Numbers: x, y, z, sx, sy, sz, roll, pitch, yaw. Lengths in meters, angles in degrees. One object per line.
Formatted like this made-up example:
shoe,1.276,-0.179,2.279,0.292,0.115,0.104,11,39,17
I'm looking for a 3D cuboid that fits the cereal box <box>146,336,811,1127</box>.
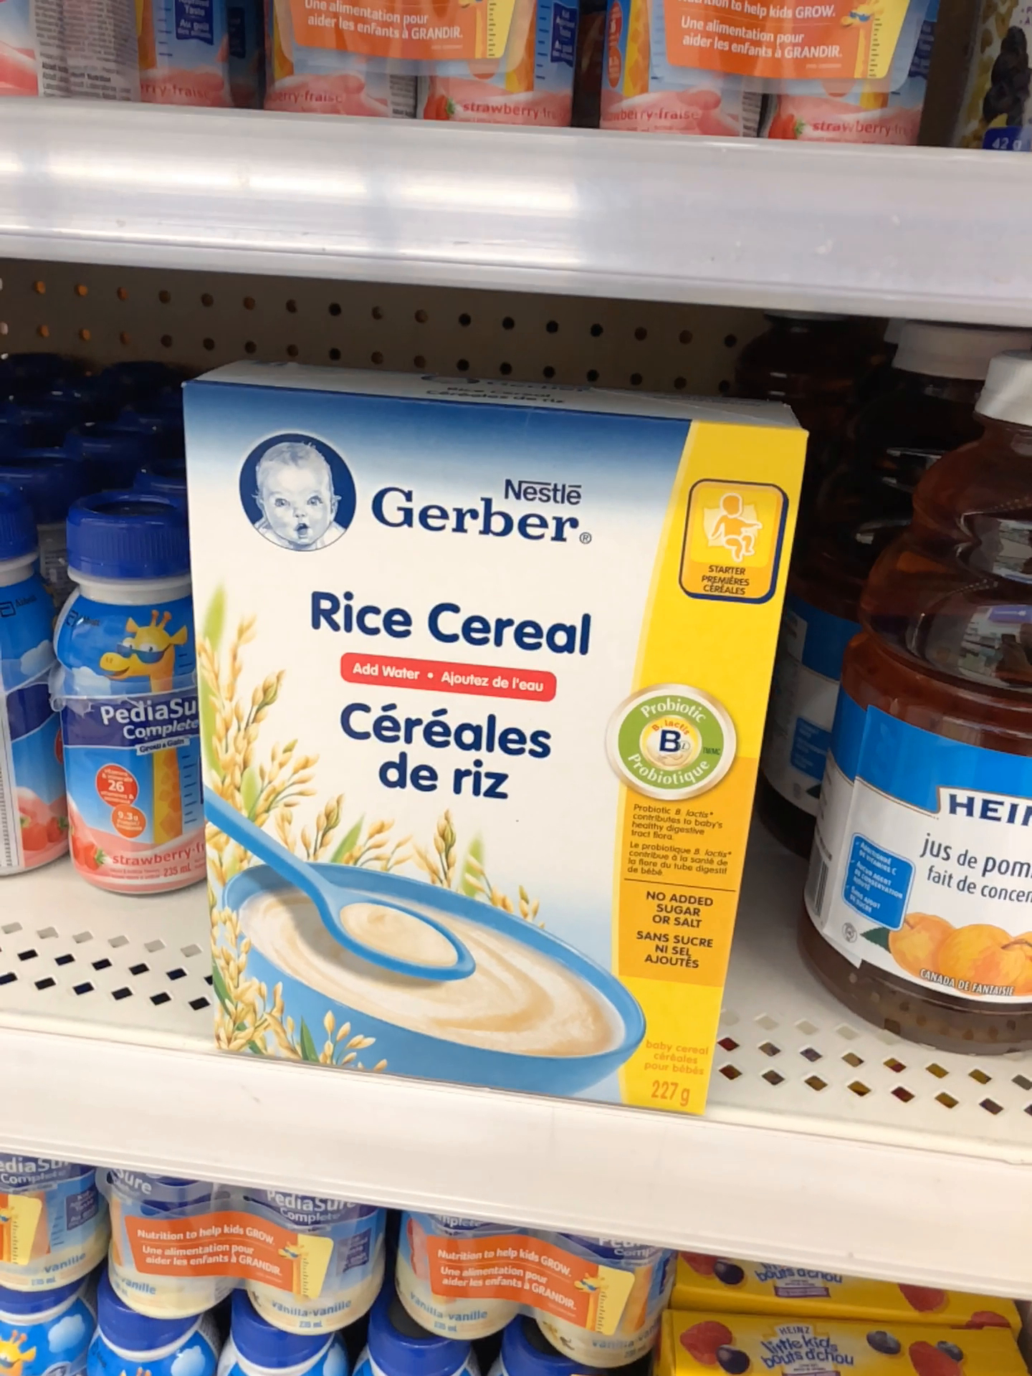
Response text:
cereal box,-0.014,0.014,0.321,0.150,0.199,0.060,6,23,4
